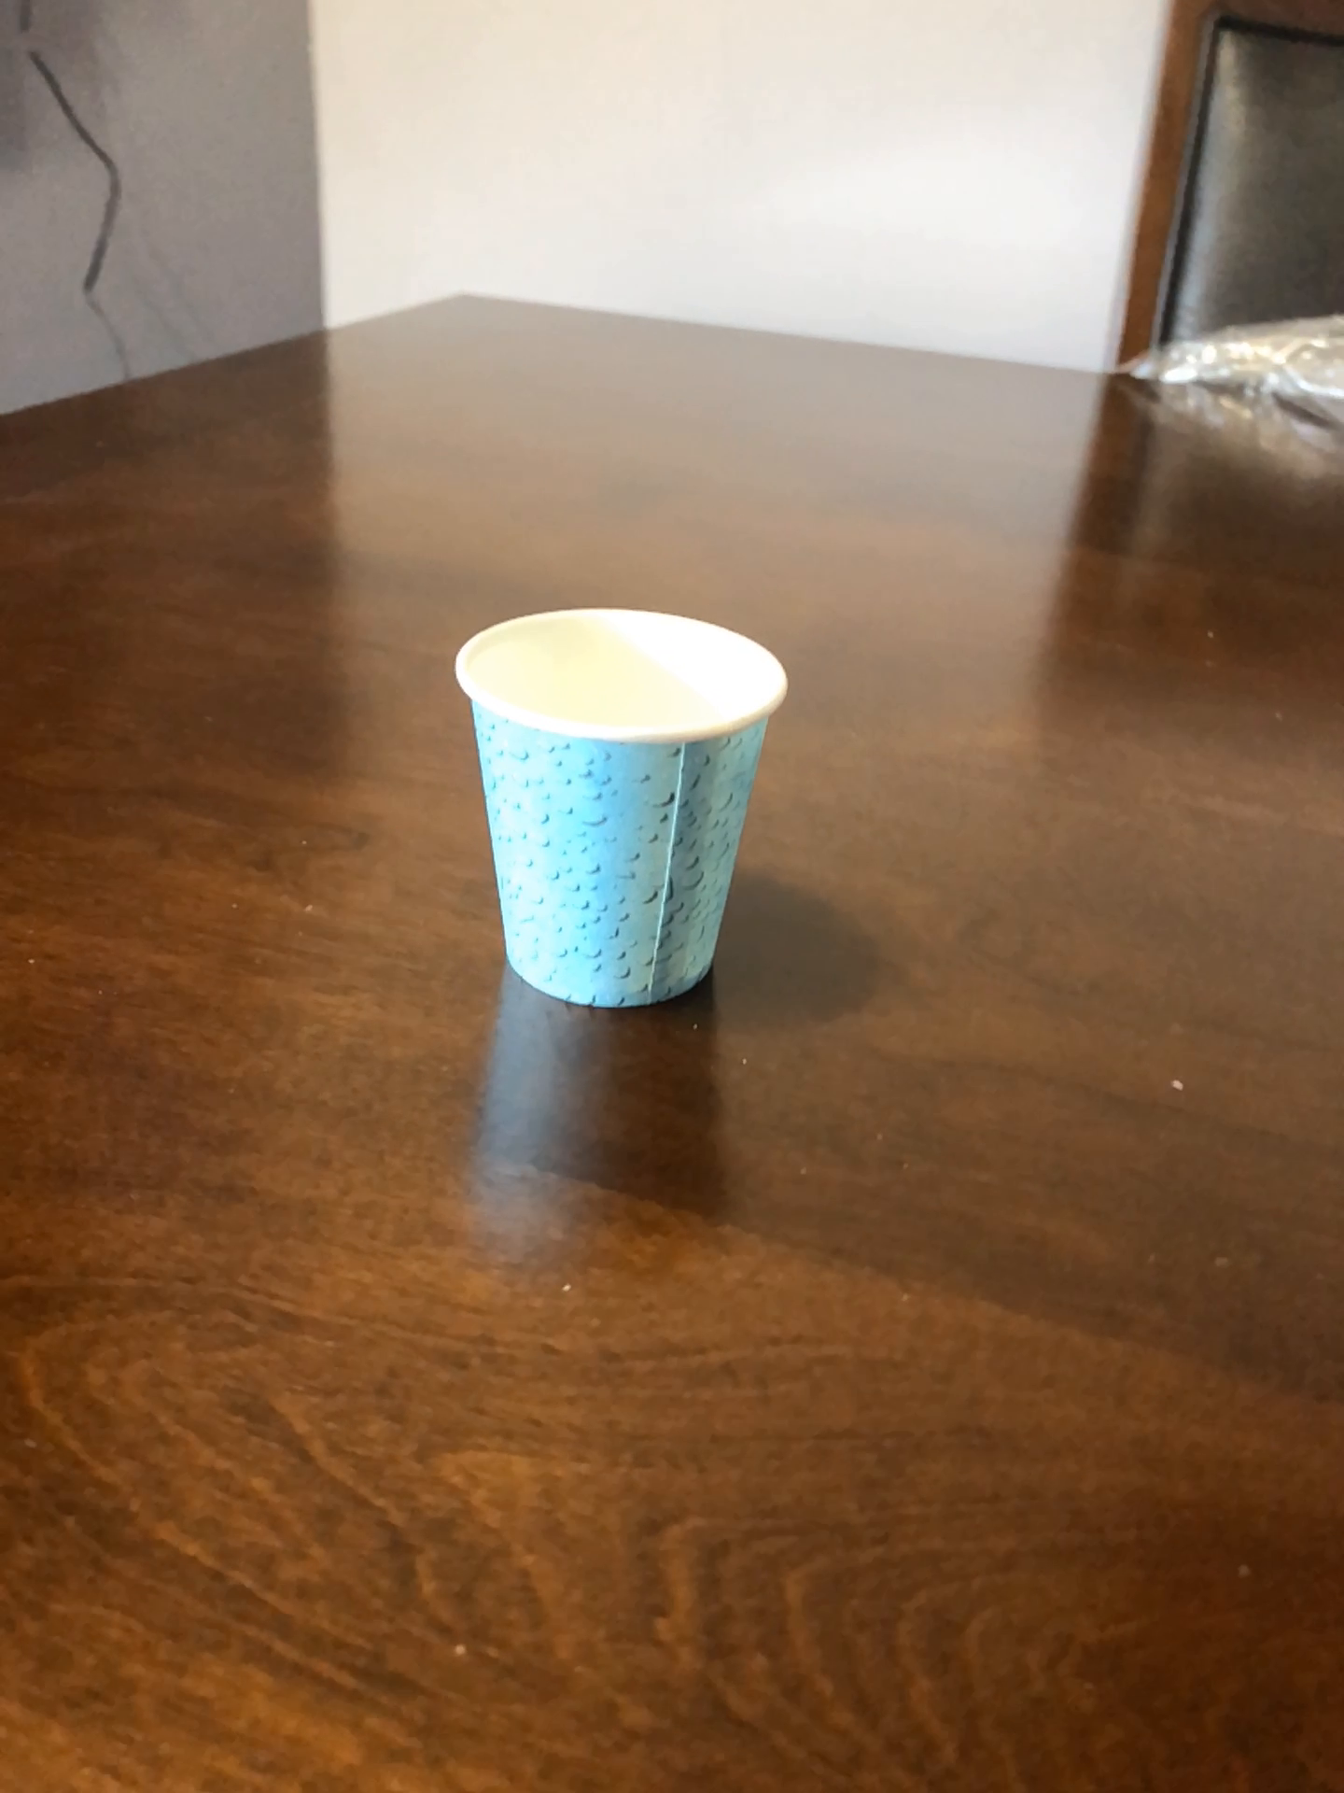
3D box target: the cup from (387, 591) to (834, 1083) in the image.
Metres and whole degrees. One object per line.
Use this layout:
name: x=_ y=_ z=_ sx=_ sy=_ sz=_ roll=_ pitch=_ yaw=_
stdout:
cup: x=-0.010 y=-0.014 z=0.274 sx=0.060 sy=0.060 sz=0.060 roll=3 pitch=29 yaw=-2
